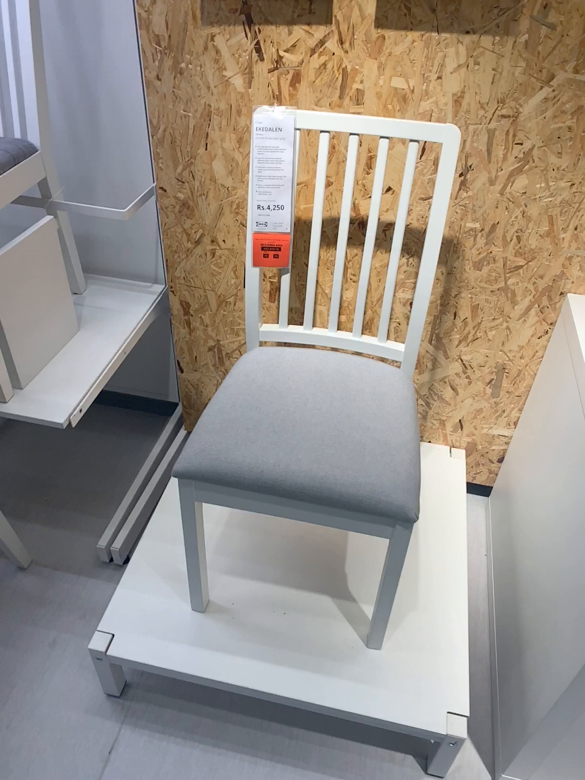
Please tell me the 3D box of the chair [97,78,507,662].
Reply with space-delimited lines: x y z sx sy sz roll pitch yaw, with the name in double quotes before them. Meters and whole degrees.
"chair" 0.036 -0.005 1.089 0.430 0.886 0.512 9 41 8
